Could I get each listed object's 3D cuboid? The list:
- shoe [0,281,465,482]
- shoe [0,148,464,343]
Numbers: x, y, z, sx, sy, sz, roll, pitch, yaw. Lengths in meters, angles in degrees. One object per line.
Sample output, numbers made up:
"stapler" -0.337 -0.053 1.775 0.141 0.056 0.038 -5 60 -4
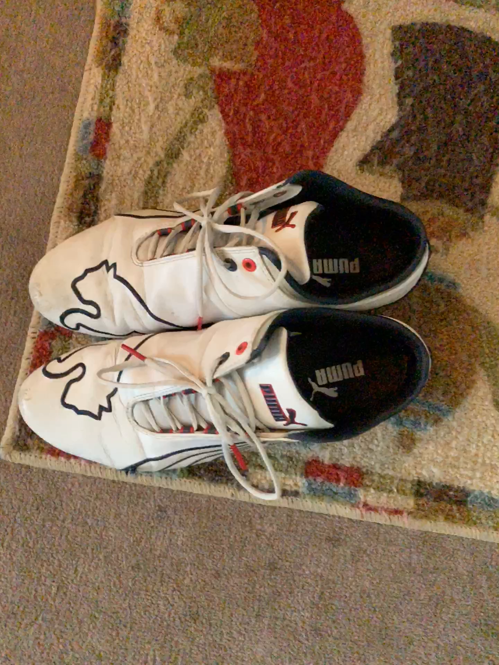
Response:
"shoe" -0.020 0.033 0.357 0.290 0.100 0.100 -3 82 -5
"shoe" -0.016 -0.057 0.364 0.290 0.090 0.100 -3 82 -5
